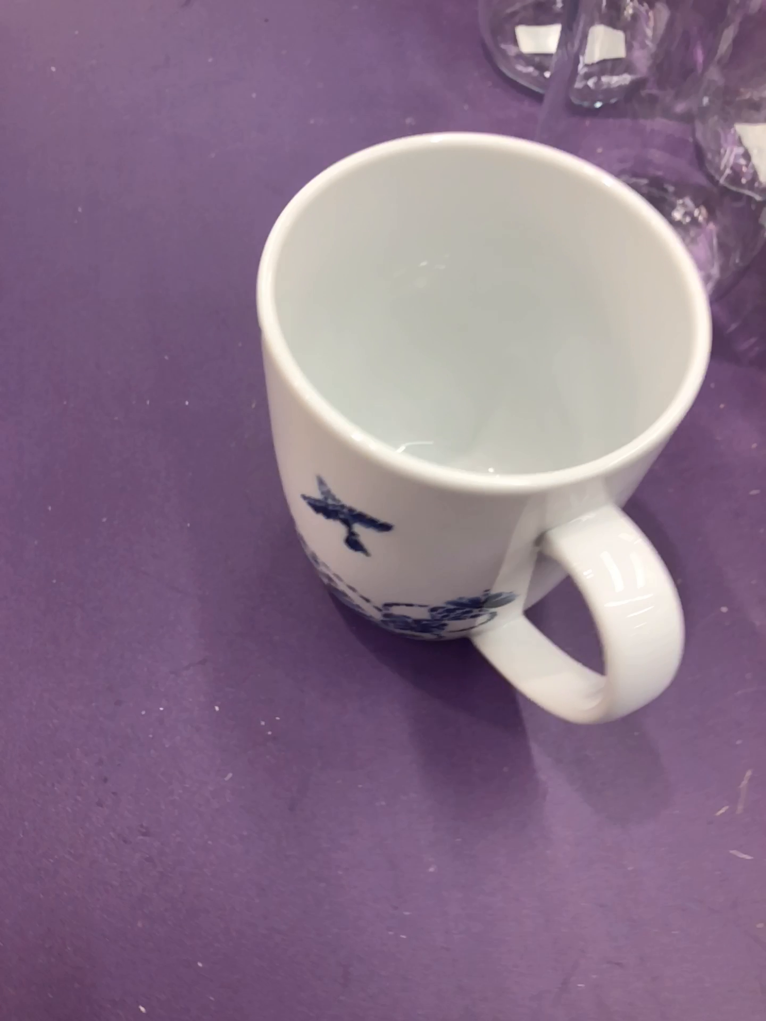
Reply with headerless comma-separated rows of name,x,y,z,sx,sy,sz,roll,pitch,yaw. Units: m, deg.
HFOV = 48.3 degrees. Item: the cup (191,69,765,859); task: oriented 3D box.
cup,0.030,-0.007,0.223,0.100,0.119,0.141,-21,65,-14
